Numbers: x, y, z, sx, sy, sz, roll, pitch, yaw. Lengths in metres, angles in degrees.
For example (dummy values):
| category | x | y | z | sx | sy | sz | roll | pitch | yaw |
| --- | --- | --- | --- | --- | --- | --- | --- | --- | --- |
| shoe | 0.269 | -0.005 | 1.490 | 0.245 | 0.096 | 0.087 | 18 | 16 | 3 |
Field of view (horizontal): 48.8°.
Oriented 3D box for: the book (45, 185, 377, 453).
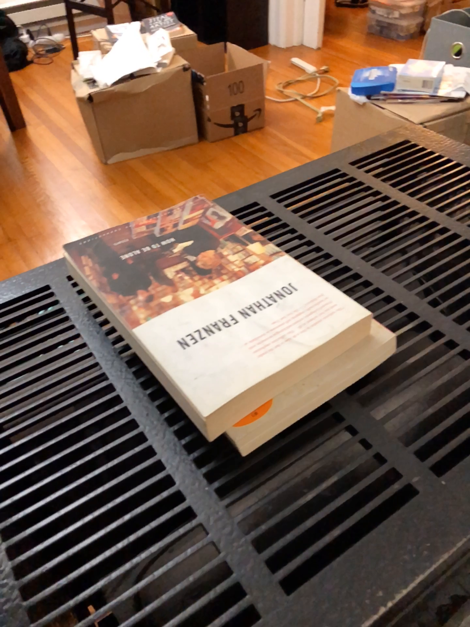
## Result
| category | x | y | z | sx | sy | sz | roll | pitch | yaw |
| --- | --- | --- | --- | --- | --- | --- | --- | --- | --- |
| book | -0.027 | -0.018 | 0.388 | 0.150 | 0.030 | 0.211 | -28 | 49 | -24 |

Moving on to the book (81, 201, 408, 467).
| category | x | y | z | sx | sy | sz | roll | pitch | yaw |
| --- | --- | --- | --- | --- | --- | --- | --- | --- | --- |
| book | -0.002 | -0.006 | 0.400 | 0.150 | 0.030 | 0.211 | -28 | 49 | -24 |
